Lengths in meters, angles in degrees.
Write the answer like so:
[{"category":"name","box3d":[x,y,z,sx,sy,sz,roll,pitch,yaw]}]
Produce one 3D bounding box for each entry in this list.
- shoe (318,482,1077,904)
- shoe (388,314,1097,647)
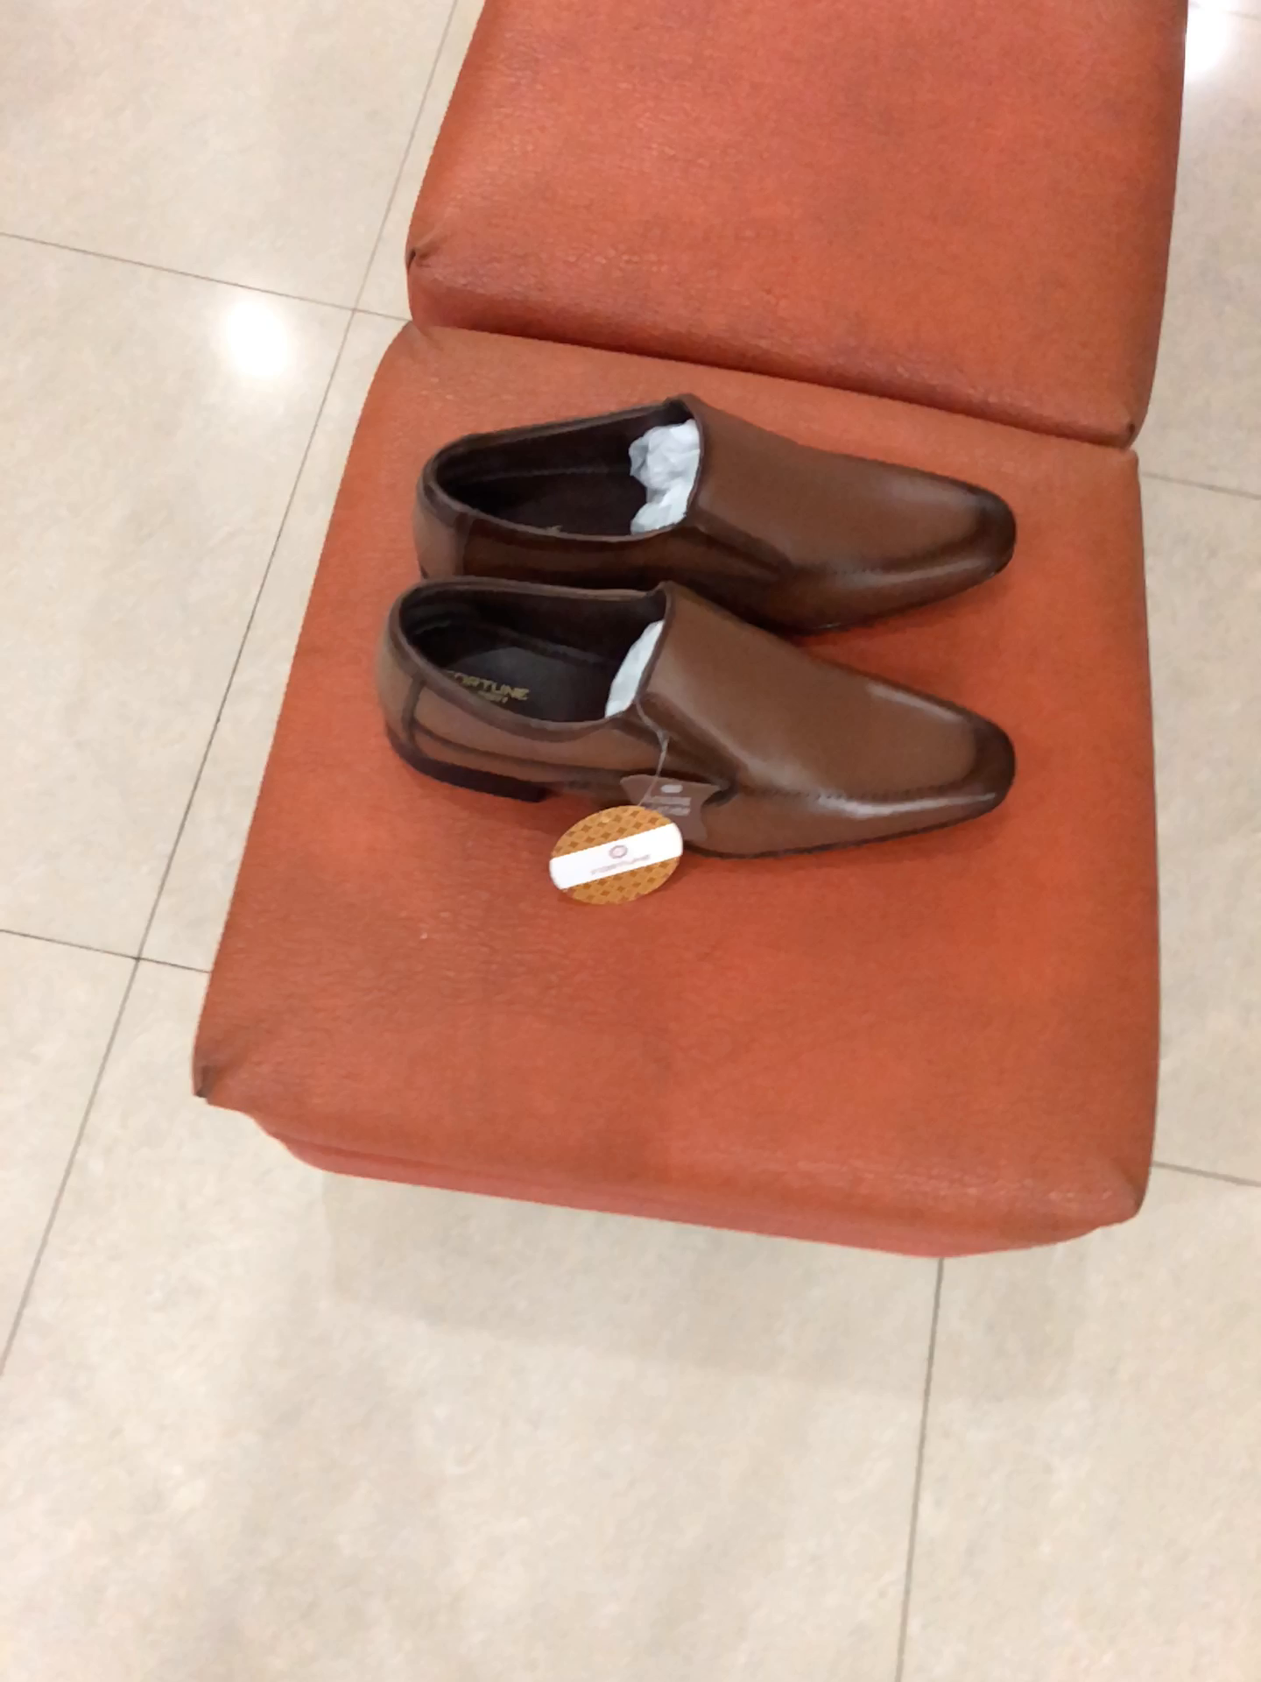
[{"category":"shoe","box3d":[0.027,-0.058,0.609,0.293,0.128,0.099,8,69,-2]},{"category":"shoe","box3d":[0.042,-0.163,0.640,0.295,0.108,0.101,-2,69,-6]}]
